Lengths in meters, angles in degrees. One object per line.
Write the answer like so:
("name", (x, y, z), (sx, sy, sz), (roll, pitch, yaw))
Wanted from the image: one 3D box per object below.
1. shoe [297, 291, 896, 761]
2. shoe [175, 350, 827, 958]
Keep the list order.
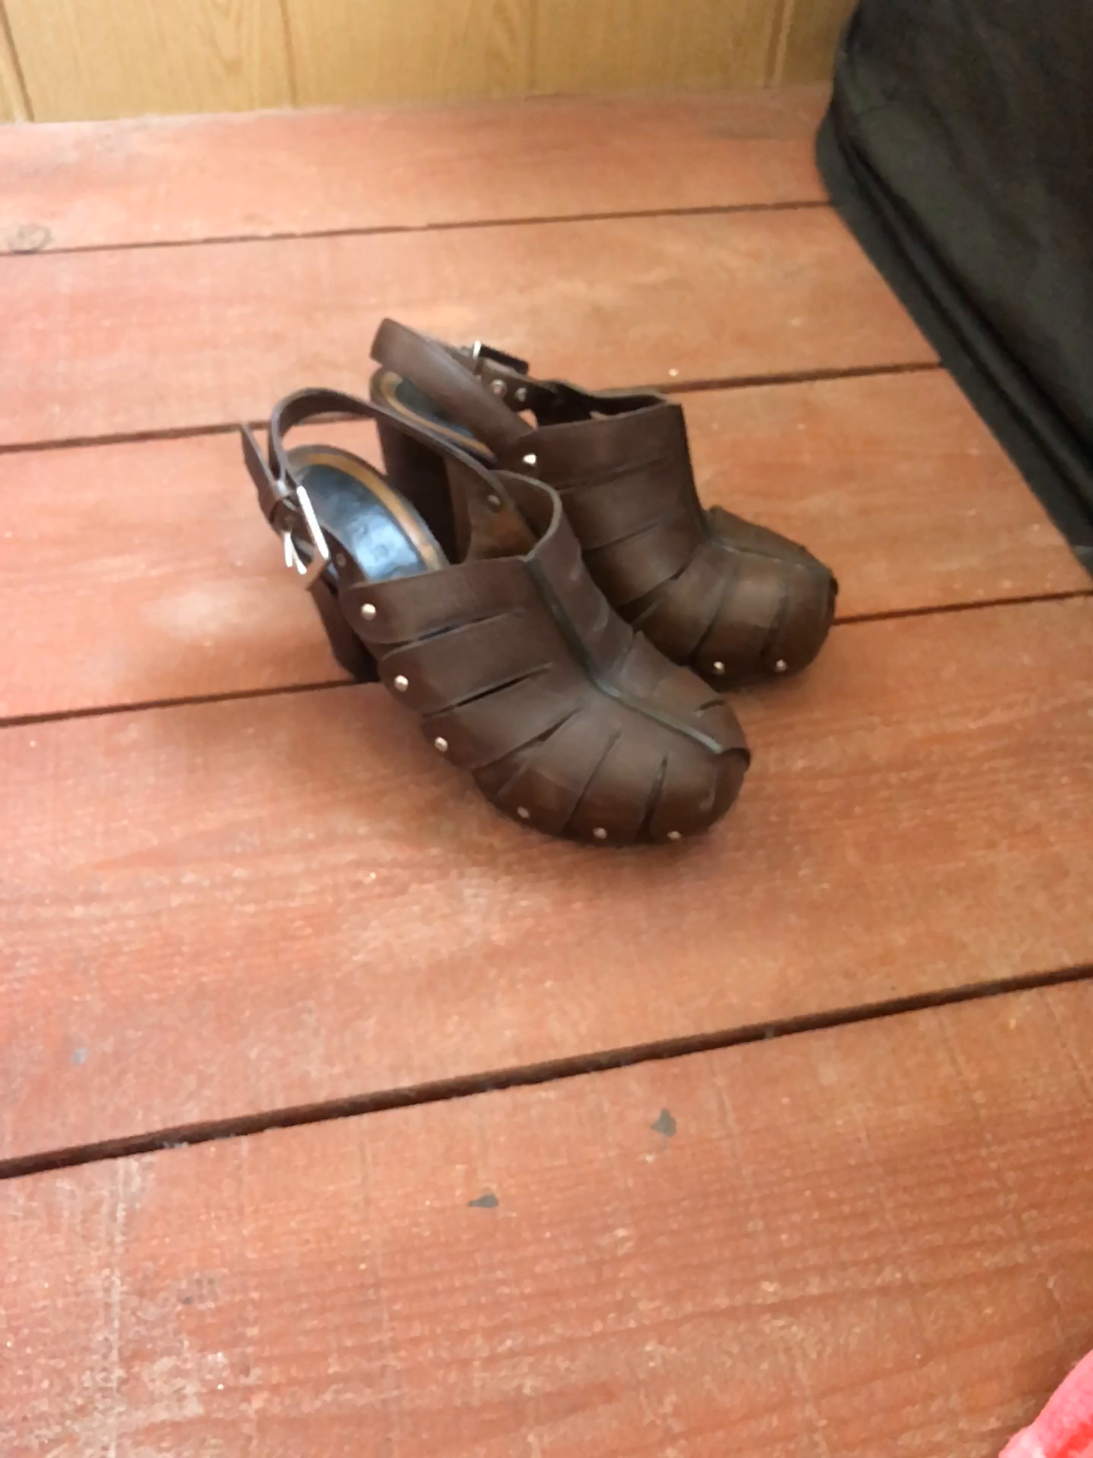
("shoe", (0.017, -0.083, 0.488), (0.210, 0.110, 0.080), (17, 39, 6))
("shoe", (-0.021, -0.031, 0.449), (0.210, 0.120, 0.080), (31, 56, 21))
